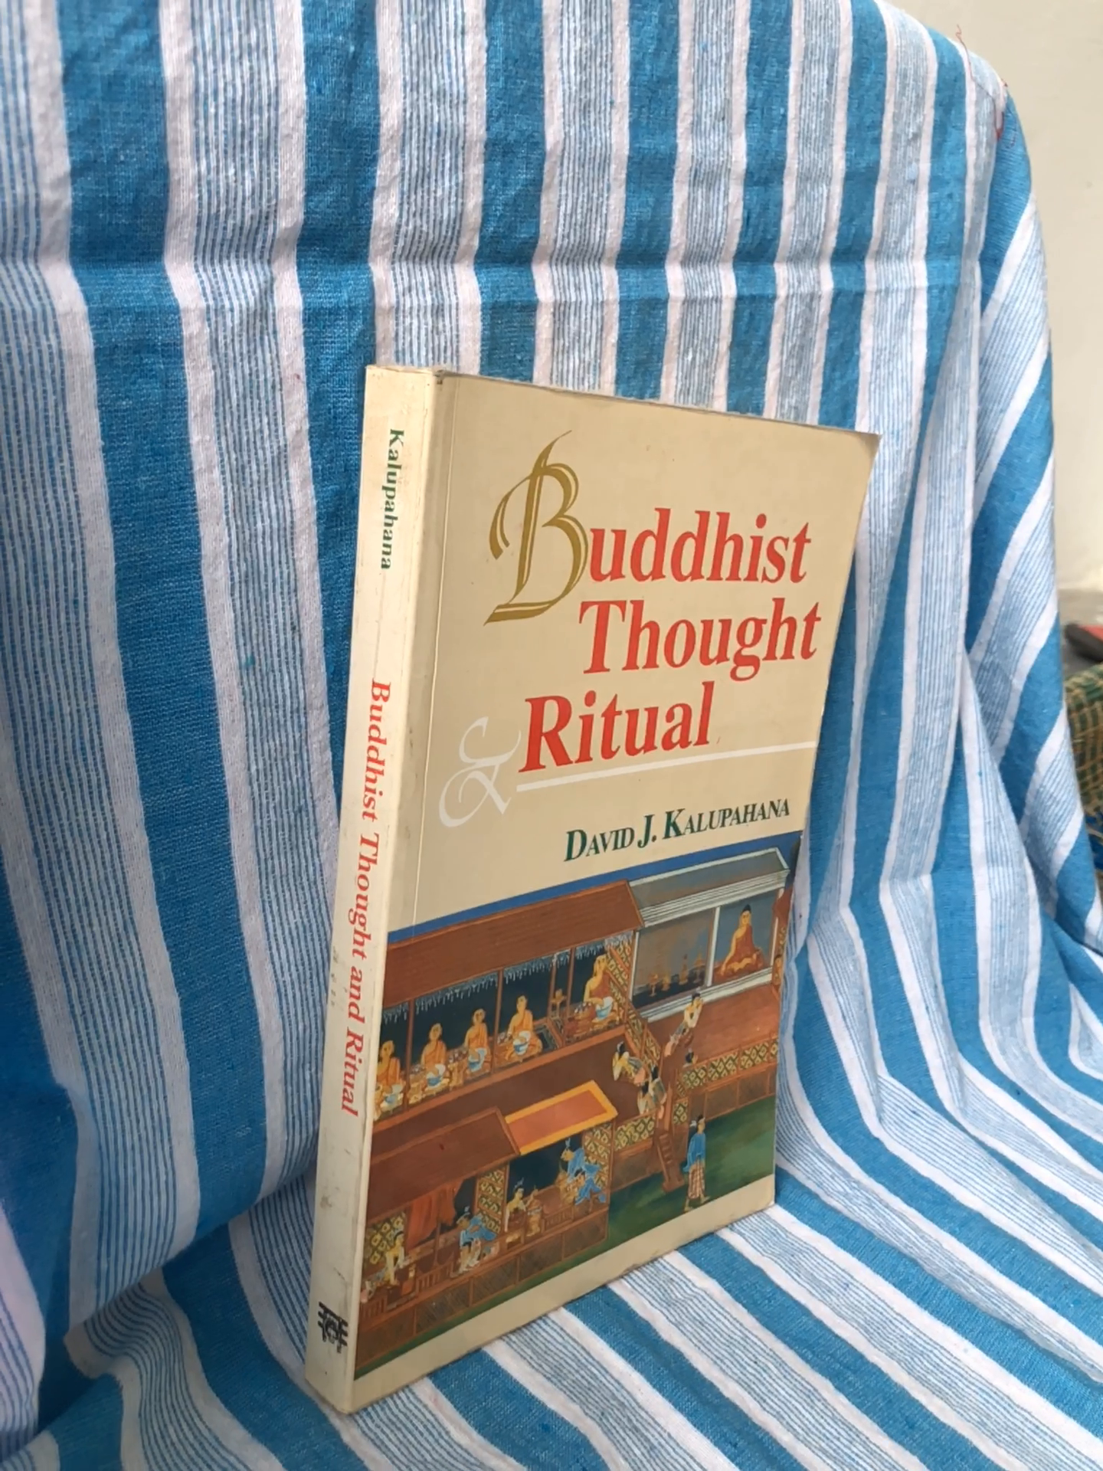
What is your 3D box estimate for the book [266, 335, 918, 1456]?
[{"bbox_3d":[0.014,0.033,0.283,0.151,0.219,0.020,-5,18,-42],"label":"book"}]
